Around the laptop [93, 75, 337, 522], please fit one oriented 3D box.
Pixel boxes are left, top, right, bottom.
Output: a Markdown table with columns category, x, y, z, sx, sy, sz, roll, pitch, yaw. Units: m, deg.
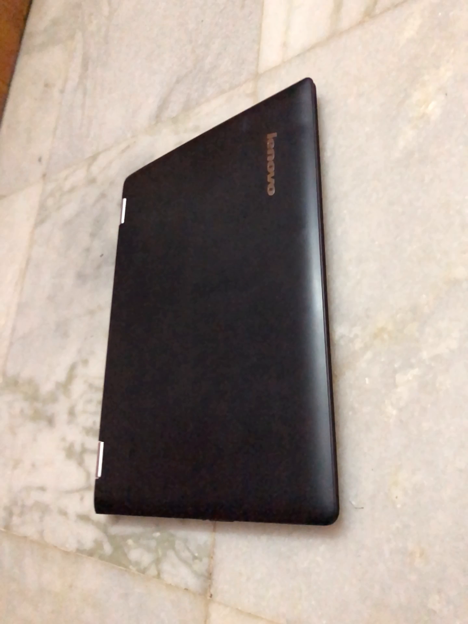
| category | x | y | z | sx | sy | sz | roll | pitch | yaw |
| --- | --- | --- | --- | --- | --- | --- | --- | --- | --- |
| laptop | -0.027 | -0.010 | 0.420 | 0.223 | 0.002 | 0.329 | -15 | 65 | 36 |
